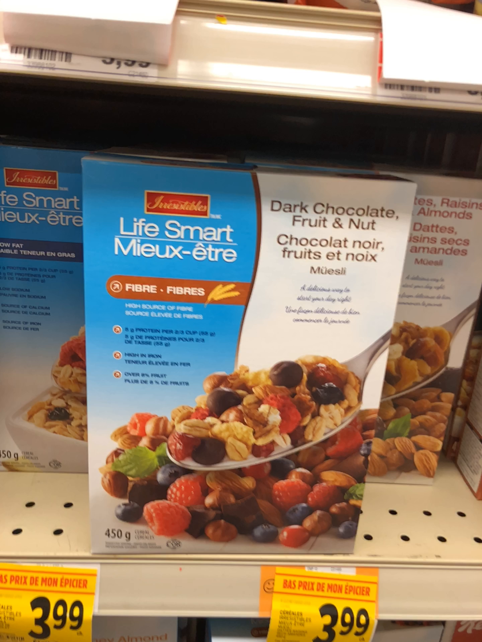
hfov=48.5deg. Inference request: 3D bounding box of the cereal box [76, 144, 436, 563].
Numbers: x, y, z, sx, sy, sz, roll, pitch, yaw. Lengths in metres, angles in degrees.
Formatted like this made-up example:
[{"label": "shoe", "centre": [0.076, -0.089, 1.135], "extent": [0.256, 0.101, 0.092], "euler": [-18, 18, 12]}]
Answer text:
[{"label": "cereal box", "centre": [-0.001, 0.028, 0.314], "extent": [0.170, 0.238, 0.050], "euler": [3, 20, -5]}]
